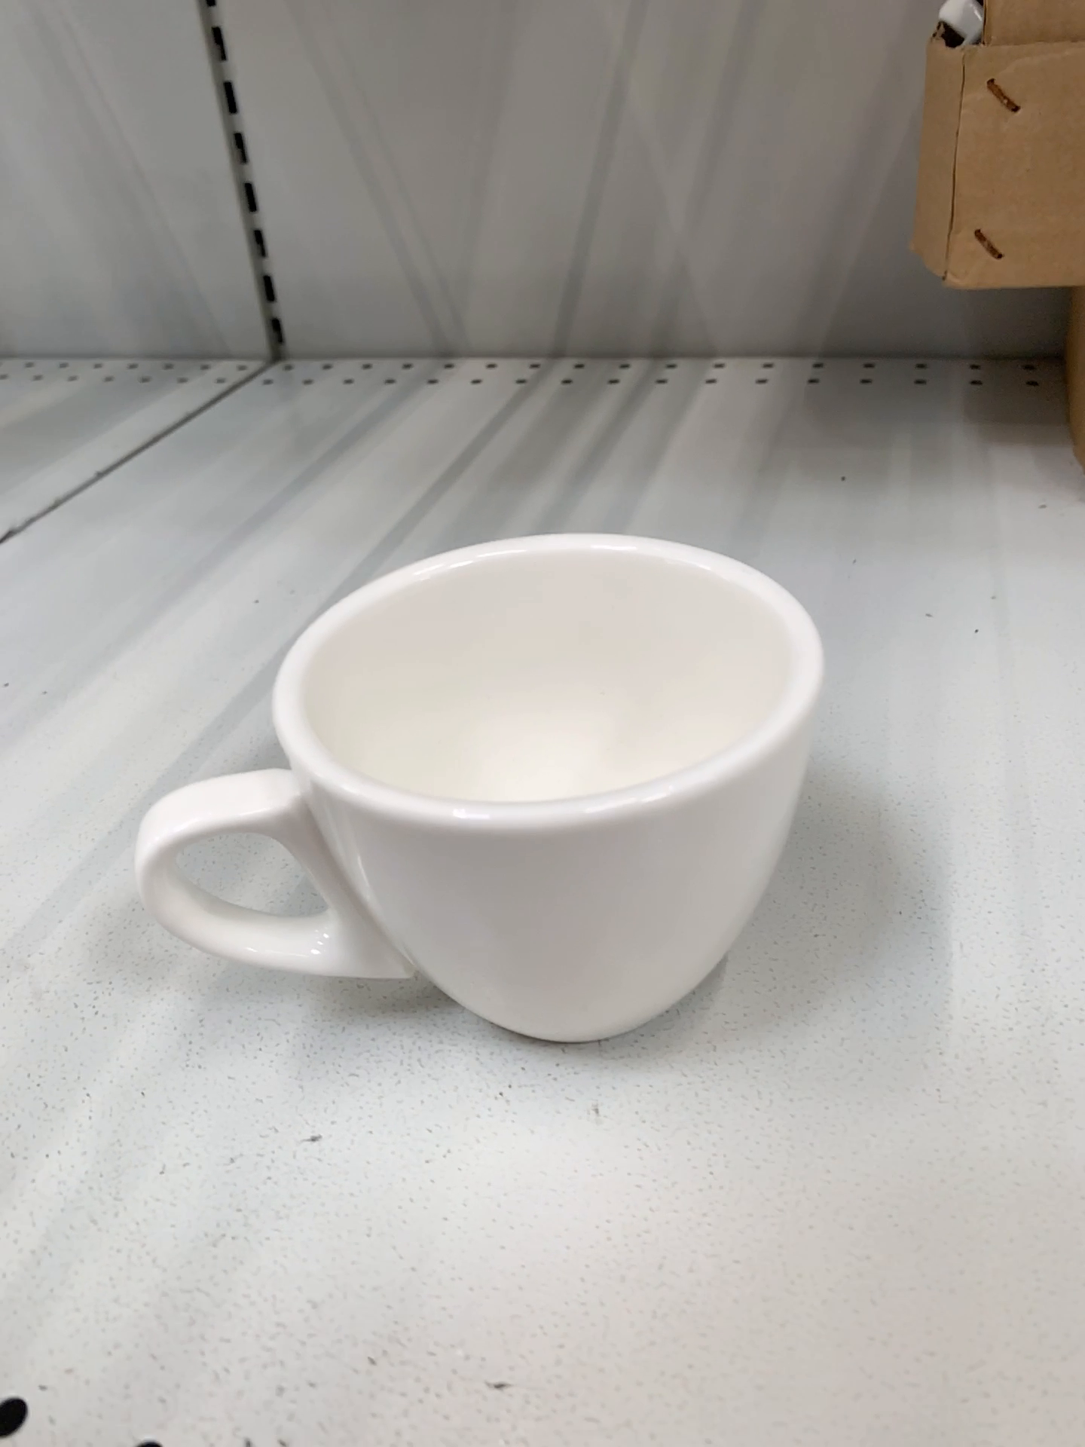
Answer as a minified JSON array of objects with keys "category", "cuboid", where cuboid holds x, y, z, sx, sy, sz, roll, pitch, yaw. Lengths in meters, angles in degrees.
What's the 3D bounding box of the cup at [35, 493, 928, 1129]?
[{"category":"cup","cuboid":[-0.011,0.010,0.221,0.131,0.062,0.095,-8,33,-3]}]
